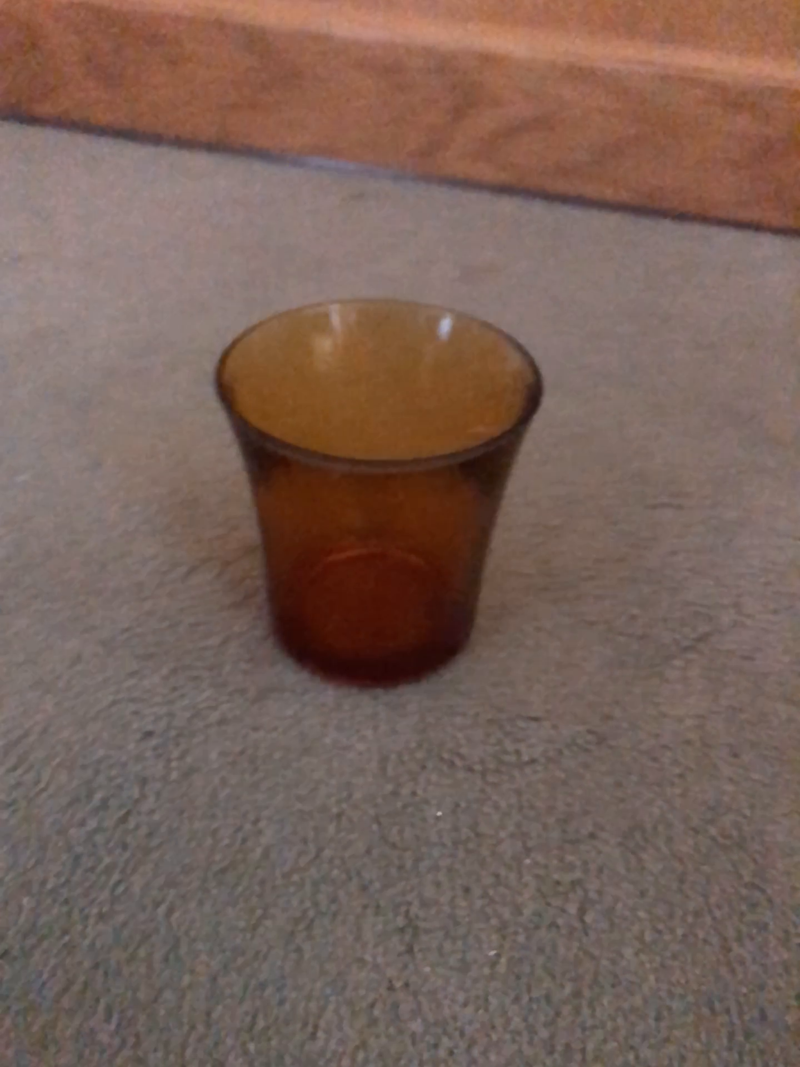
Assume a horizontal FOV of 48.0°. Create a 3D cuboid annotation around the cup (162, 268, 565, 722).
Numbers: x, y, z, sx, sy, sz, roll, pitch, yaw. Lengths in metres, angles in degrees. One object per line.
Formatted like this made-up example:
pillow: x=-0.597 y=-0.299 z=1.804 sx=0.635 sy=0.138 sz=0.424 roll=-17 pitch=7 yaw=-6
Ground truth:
cup: x=-0.004 y=-0.012 z=0.214 sx=0.070 sy=0.070 sz=0.070 roll=1 pitch=39 yaw=-1
